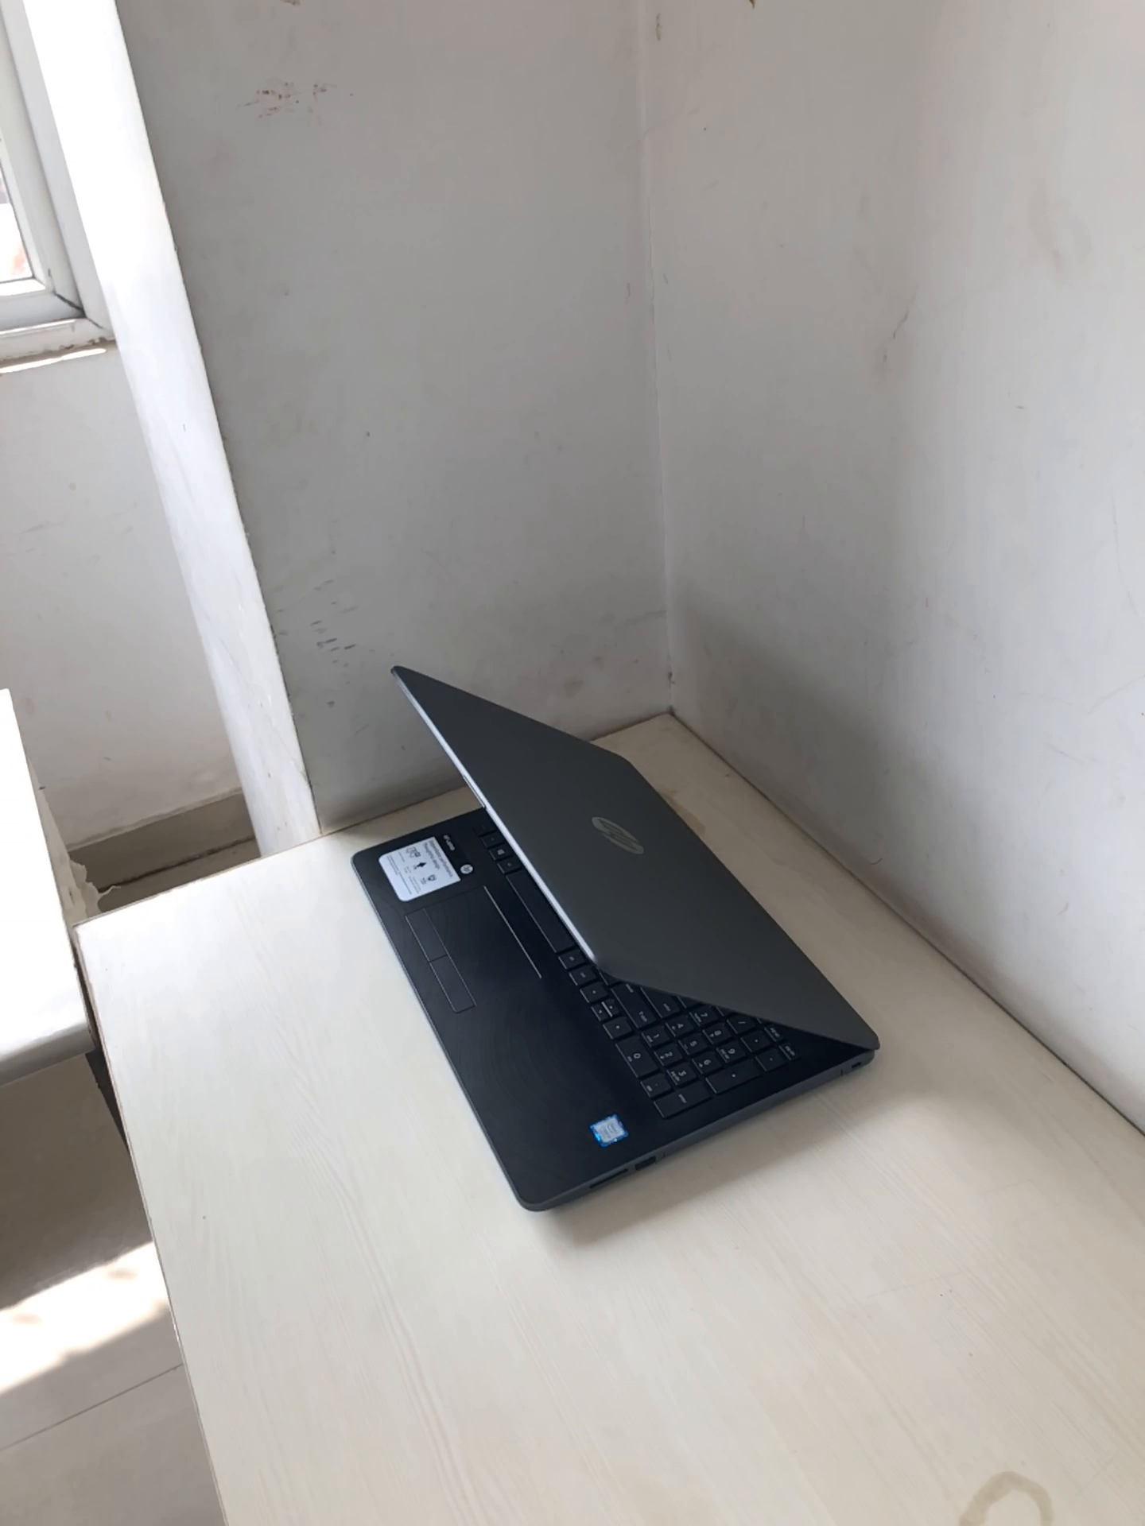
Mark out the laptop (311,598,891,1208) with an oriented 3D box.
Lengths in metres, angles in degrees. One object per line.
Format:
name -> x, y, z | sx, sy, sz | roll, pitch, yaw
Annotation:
laptop -> 0.004, 0.064, 0.857 | 0.244, 0.157, 0.357 | -18, 38, -19
